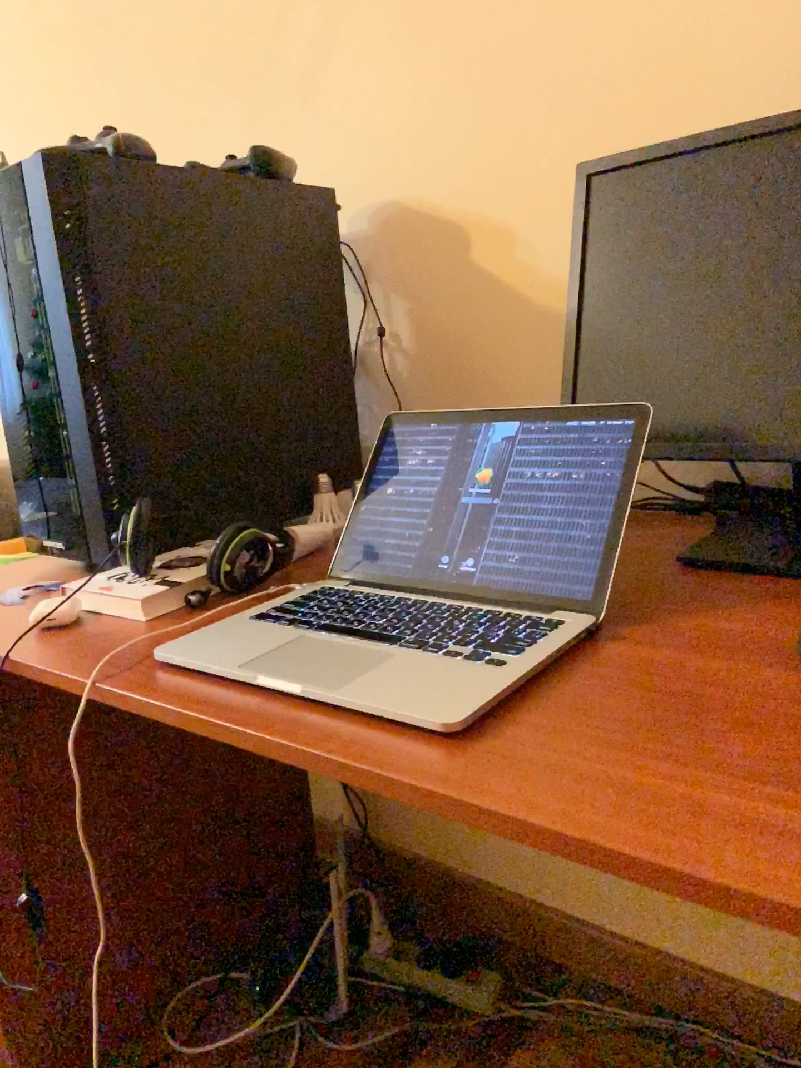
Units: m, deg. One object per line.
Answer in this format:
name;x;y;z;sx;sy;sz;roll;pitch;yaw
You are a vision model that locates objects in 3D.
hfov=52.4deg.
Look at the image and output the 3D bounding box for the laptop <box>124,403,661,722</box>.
laptop;0.012;-0.010;0.706;0.300;0.155;0.341;5;17;37
